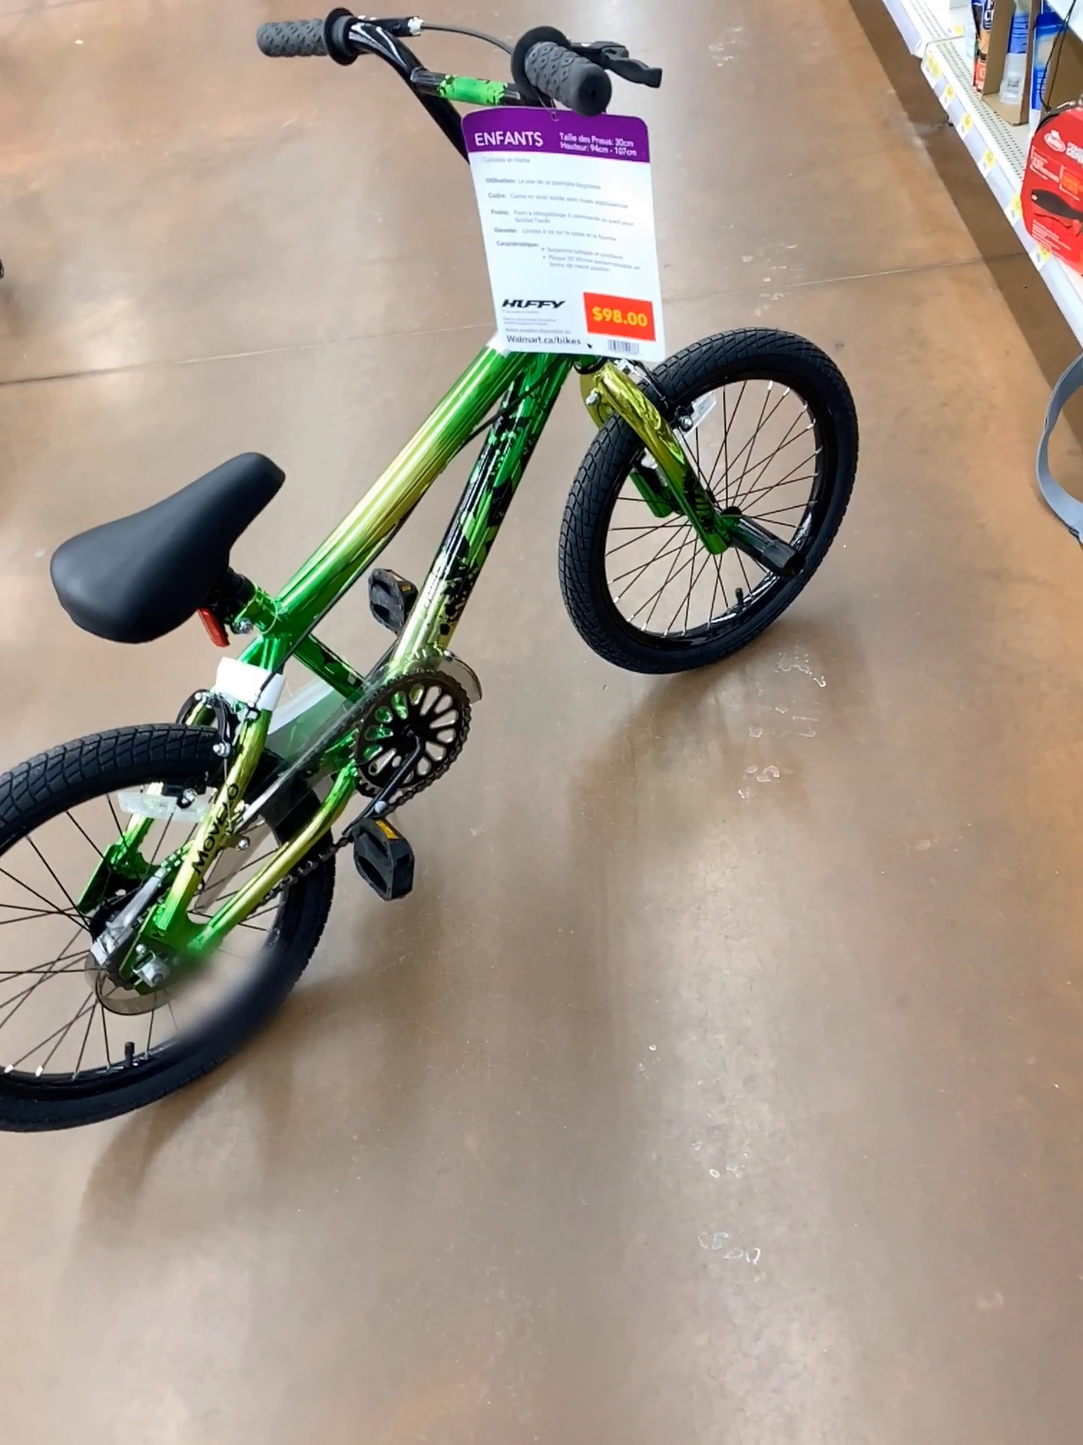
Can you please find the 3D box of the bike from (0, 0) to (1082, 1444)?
[{"bbox_3d":[-0.033,-0.182,1.094,1.407,1.034,0.719,-38,52,-15],"label":"bike"}]
